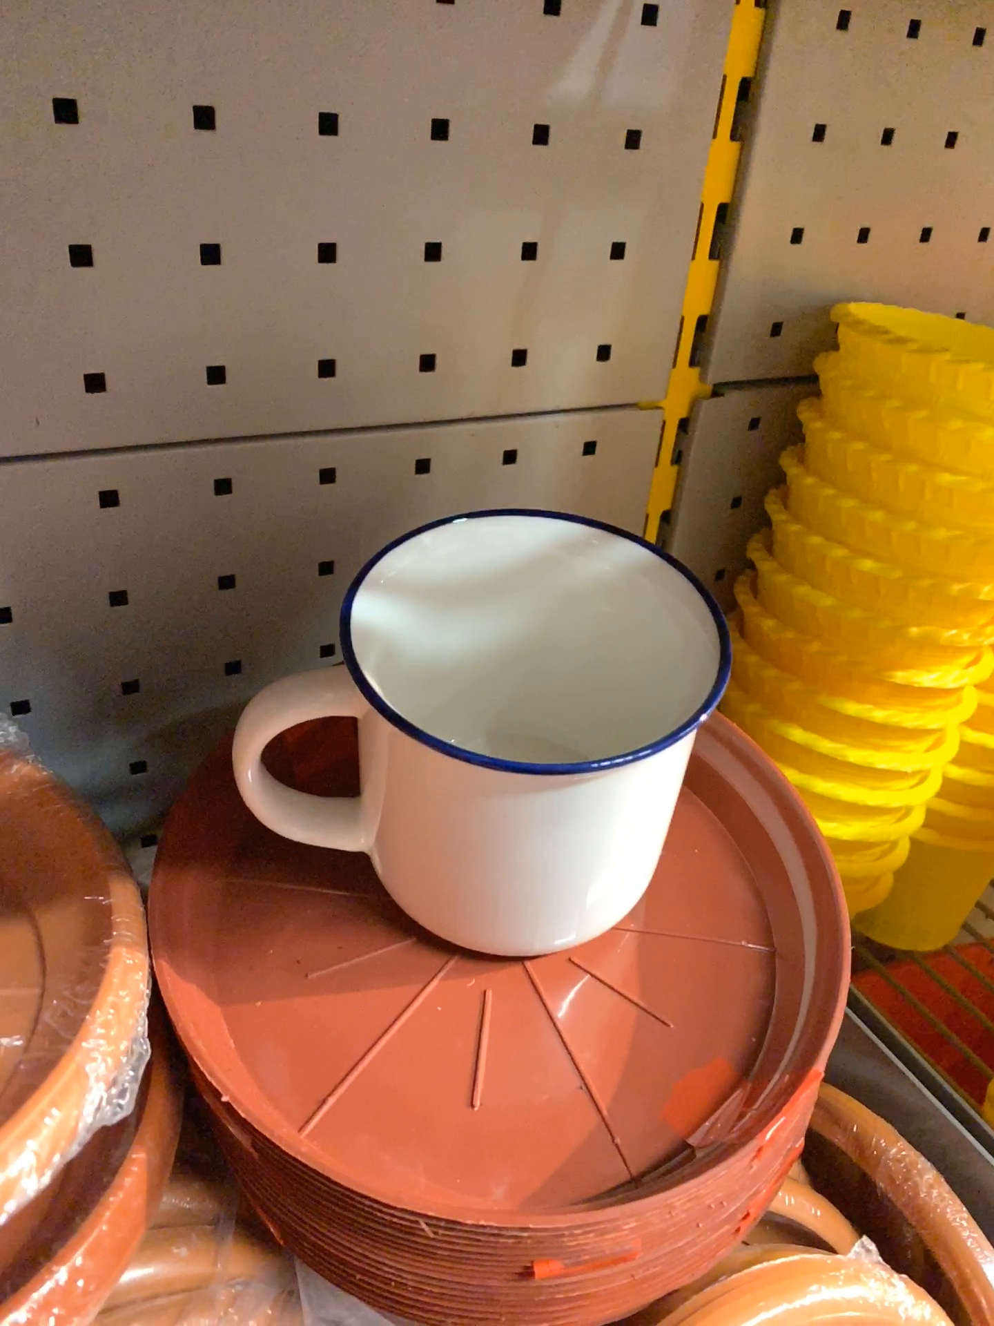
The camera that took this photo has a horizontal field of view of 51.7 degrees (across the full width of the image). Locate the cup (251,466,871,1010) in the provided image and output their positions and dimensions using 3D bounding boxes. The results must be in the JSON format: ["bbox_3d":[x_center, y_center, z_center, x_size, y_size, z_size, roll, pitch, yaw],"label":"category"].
[{"bbox_3d":[0.004,0.015,0.260,0.120,0.090,0.090,-4,45,-15],"label":"cup"}]
